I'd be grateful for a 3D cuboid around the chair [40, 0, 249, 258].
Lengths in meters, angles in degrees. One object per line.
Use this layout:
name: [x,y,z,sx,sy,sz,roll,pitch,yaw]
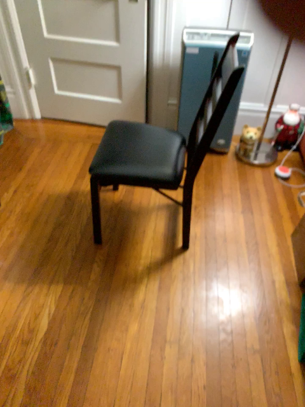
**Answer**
chair: [-0.016,-0.263,1.307,0.550,0.865,0.493,5,44,3]
